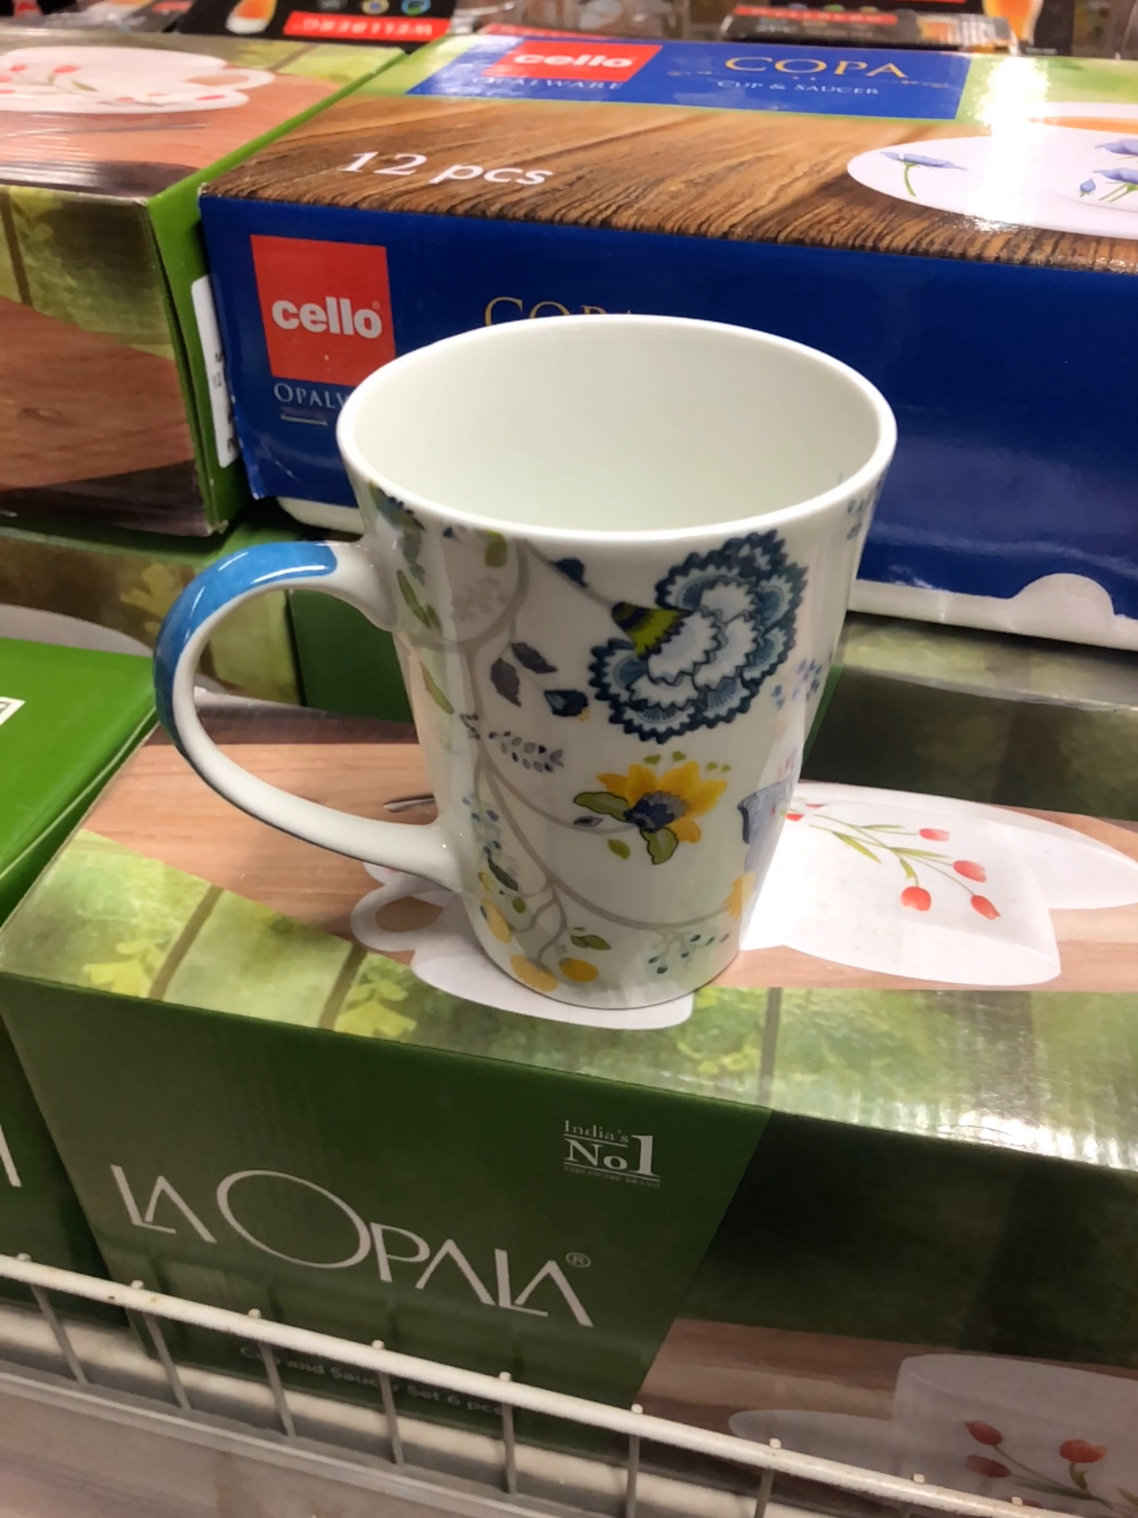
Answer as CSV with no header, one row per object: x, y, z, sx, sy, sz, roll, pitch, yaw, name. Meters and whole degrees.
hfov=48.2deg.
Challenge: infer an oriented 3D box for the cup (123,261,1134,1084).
0.002,-0.015,0.186,0.110,0.079,0.070,-9,42,-9,cup
